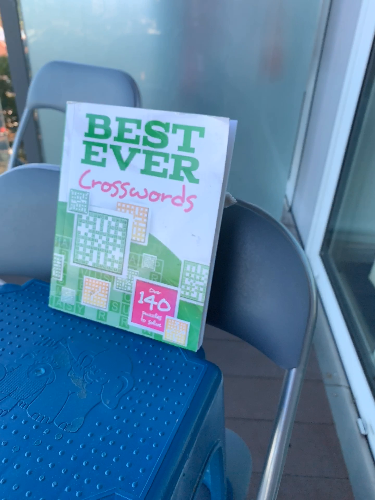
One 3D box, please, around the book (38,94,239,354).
[{"bbox_3d":[-0.051,-0.025,0.348,0.157,0.196,0.030,13,13,16],"label":"book"}]
